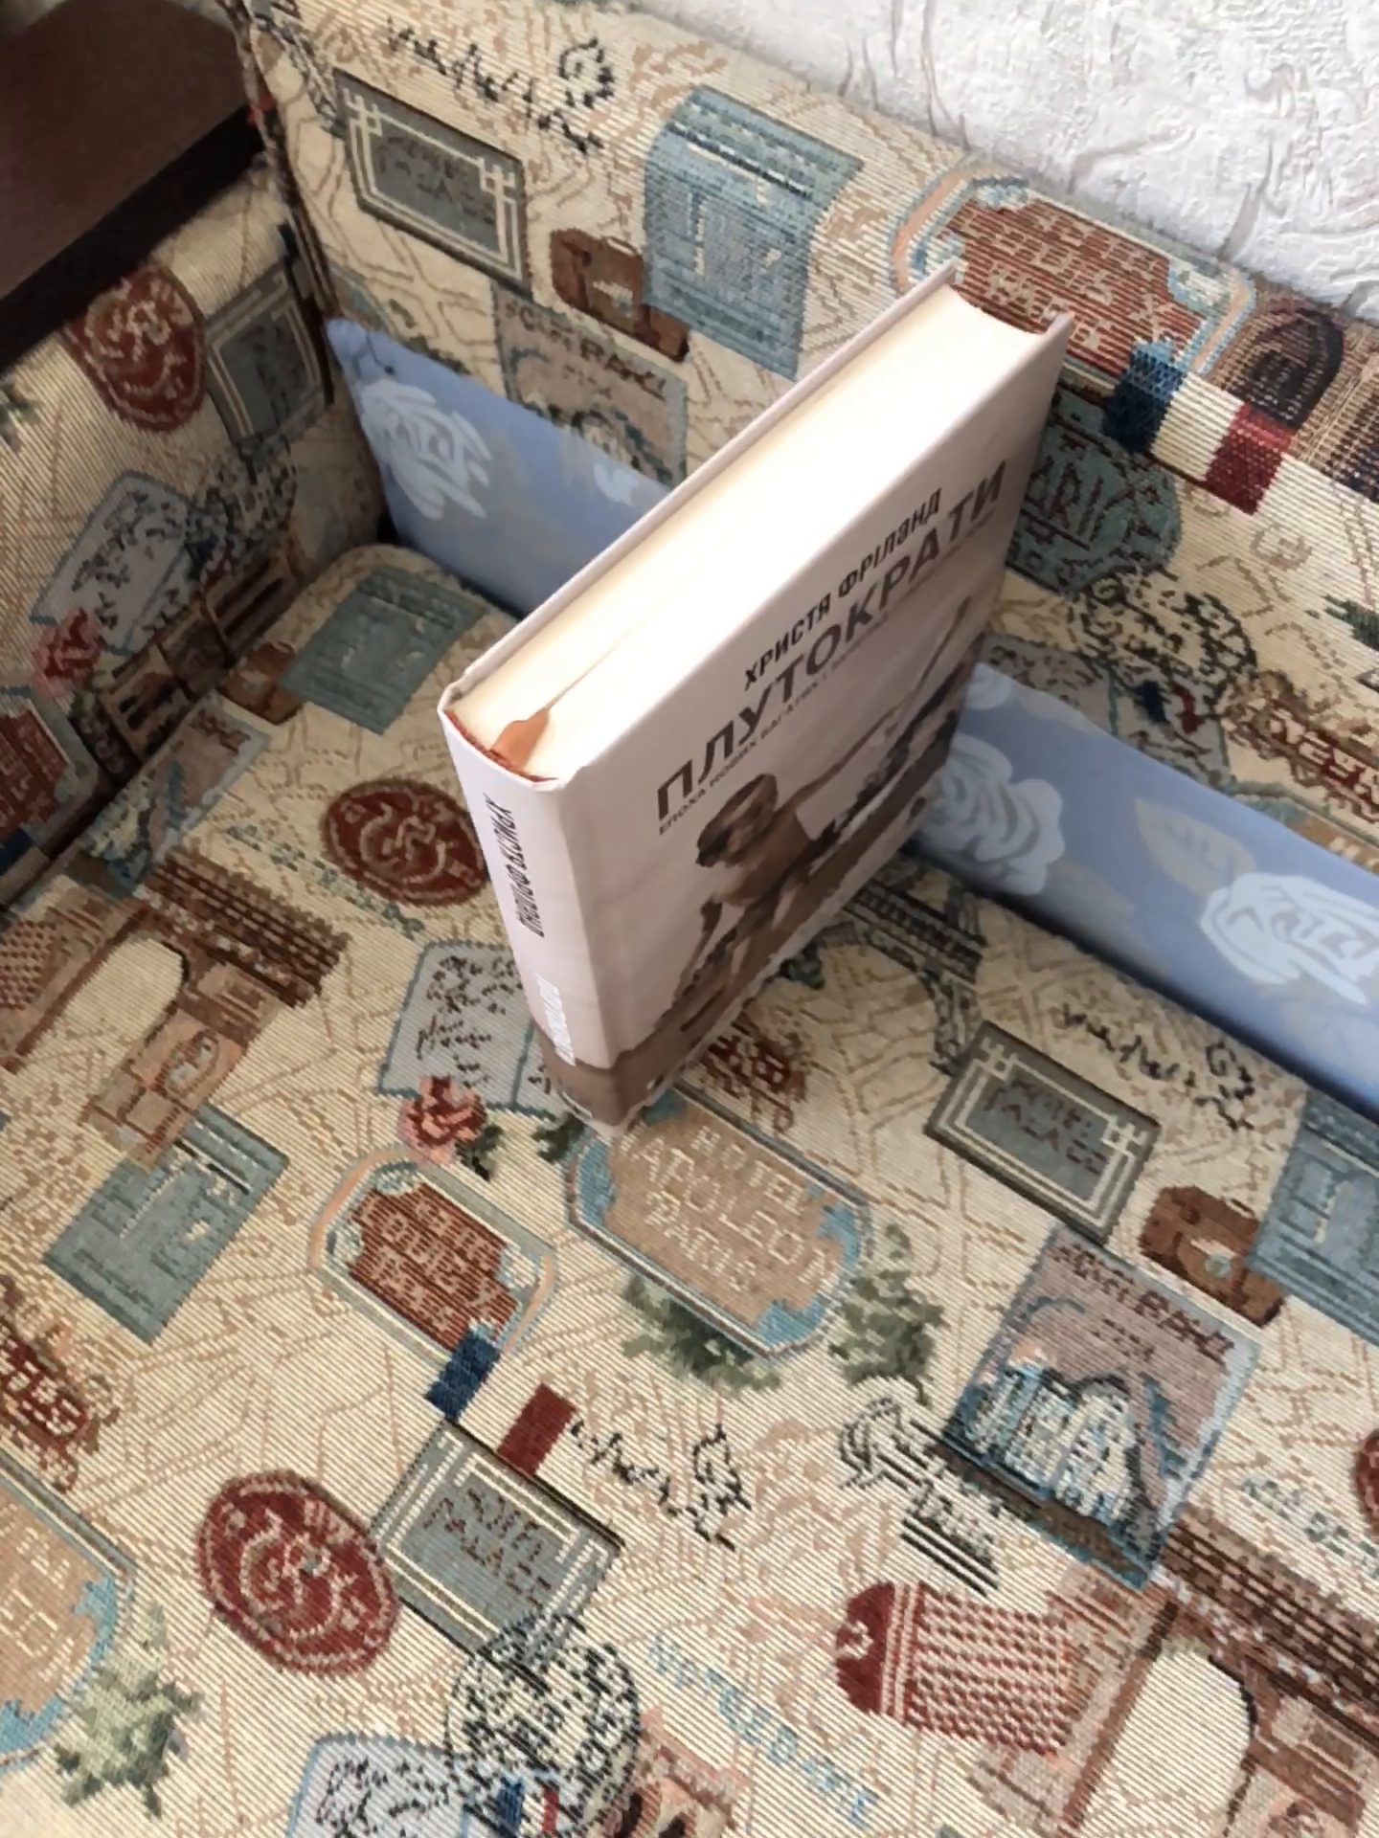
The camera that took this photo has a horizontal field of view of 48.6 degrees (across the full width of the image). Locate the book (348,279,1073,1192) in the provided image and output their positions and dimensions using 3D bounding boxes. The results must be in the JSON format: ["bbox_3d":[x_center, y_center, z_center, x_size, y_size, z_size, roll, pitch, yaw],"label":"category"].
[{"bbox_3d":[0.008,-0.028,0.405,0.040,0.219,0.170,41,72,15],"label":"book"}]
